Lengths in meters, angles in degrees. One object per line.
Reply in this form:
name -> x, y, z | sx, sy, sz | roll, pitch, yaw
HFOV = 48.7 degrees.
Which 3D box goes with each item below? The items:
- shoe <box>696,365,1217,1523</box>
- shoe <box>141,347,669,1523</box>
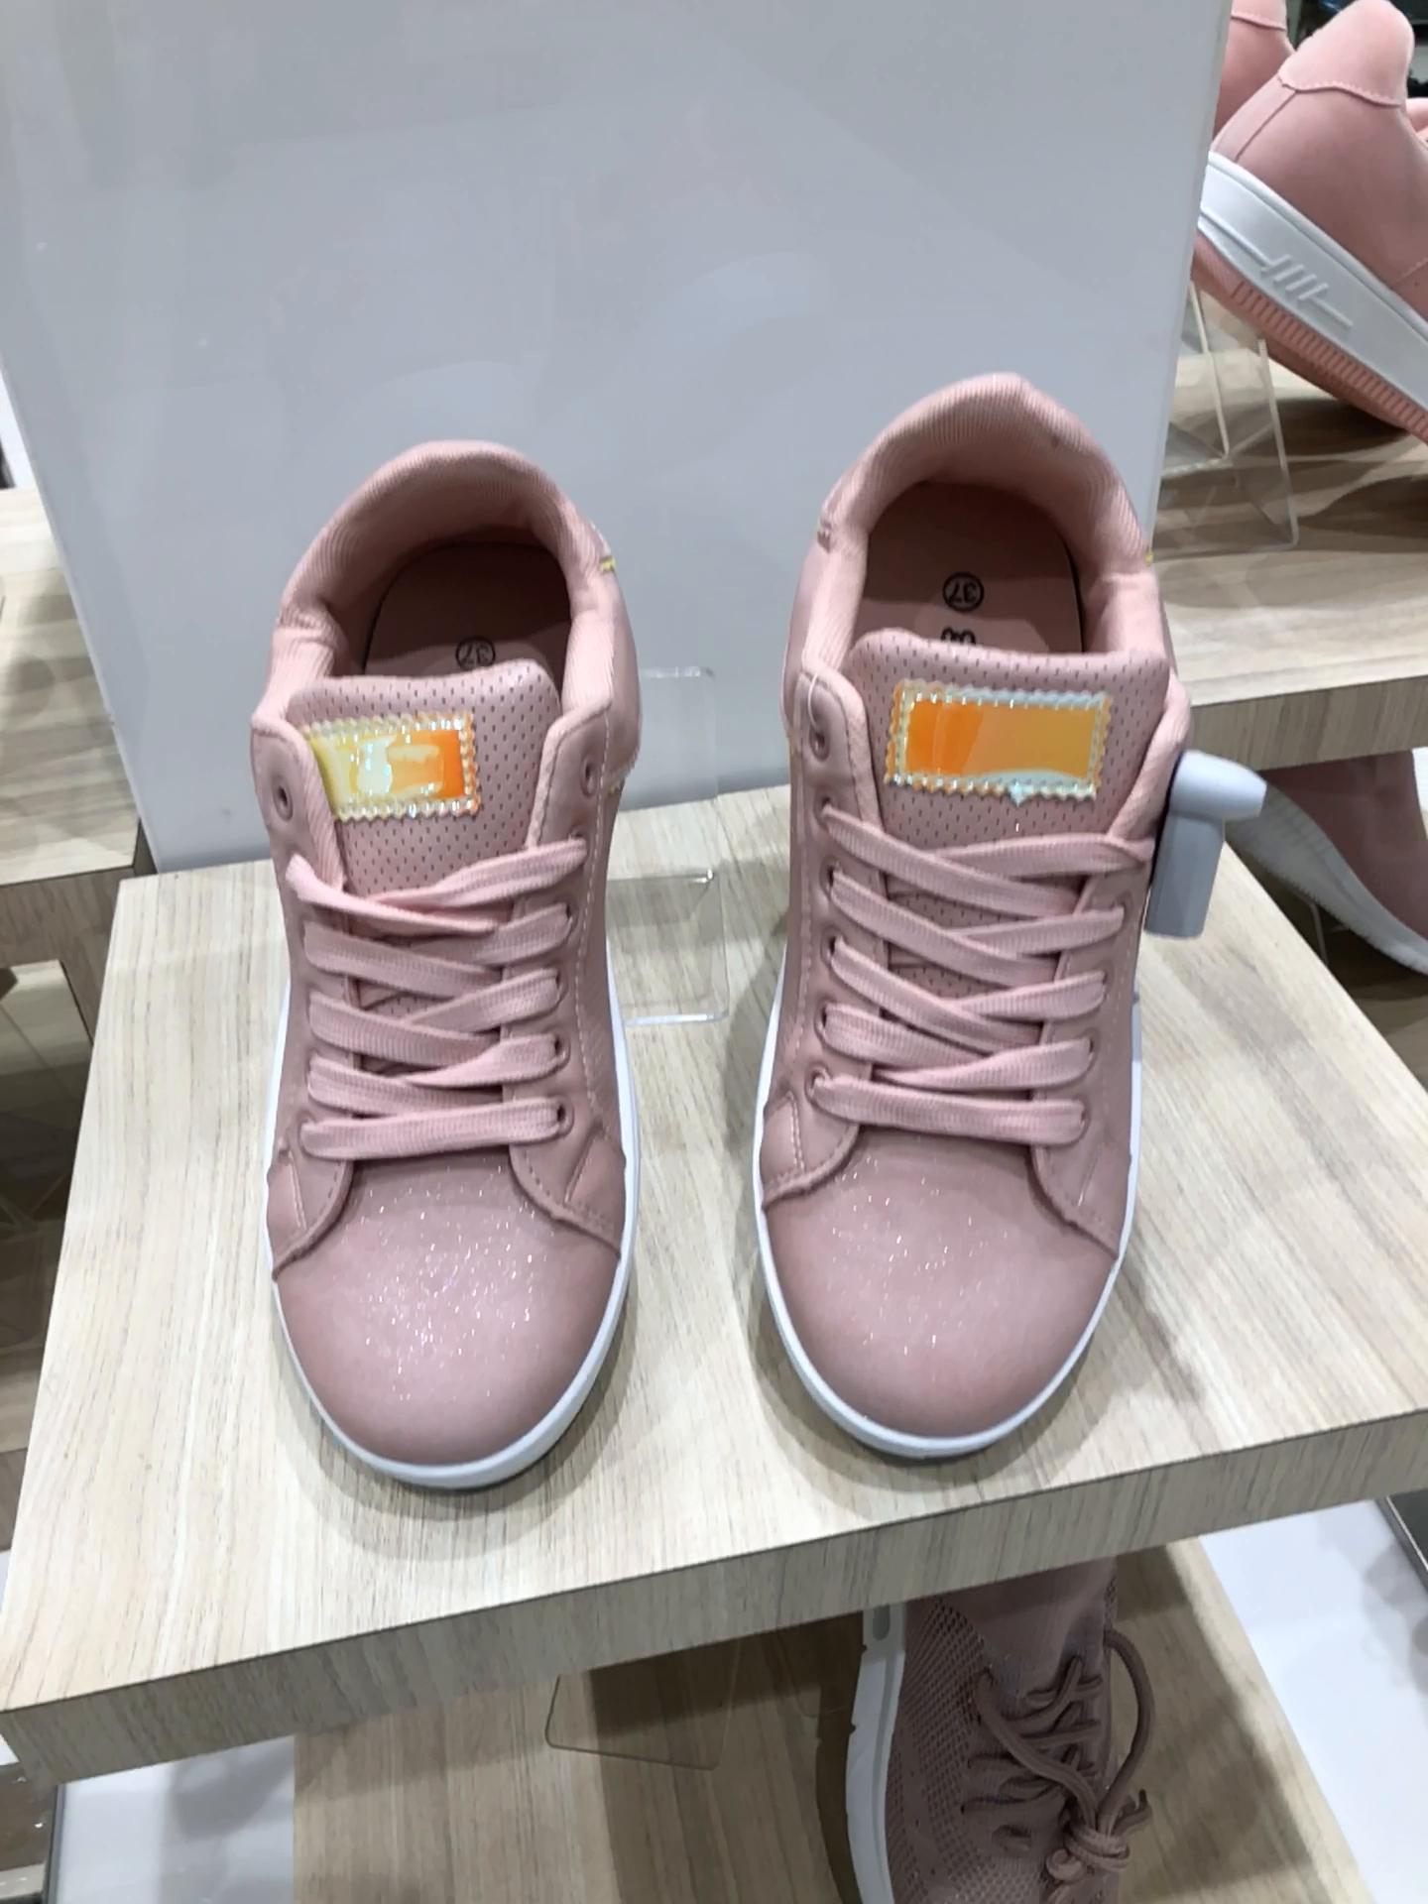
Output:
shoe -> 0.060, -0.004, 0.397 | 0.100, 0.250, 0.100 | 3, -4, 8
shoe -> -0.068, -0.003, 0.396 | 0.100, 0.100, 0.261 | -2, 79, 3
